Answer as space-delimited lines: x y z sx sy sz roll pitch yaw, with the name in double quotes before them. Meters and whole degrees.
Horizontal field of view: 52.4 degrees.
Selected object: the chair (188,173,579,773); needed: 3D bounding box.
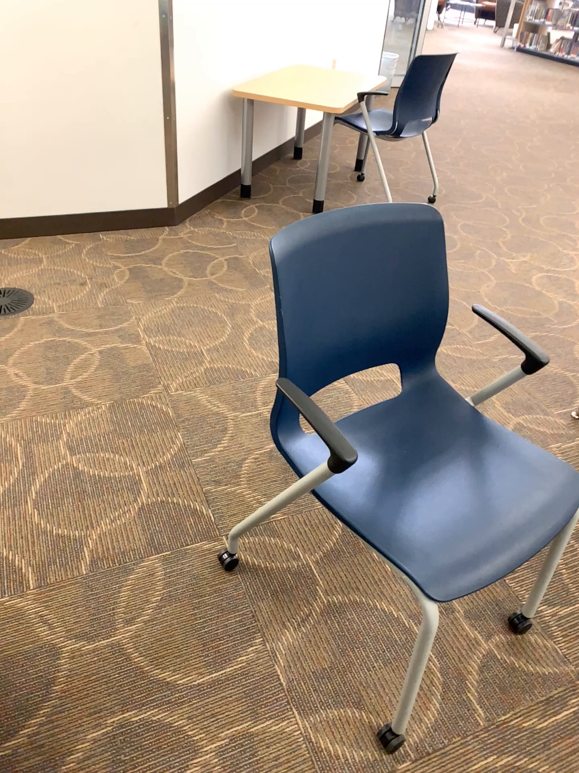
"chair" 0.257 0.106 1.021 0.621 0.687 0.612 -21 44 -31
